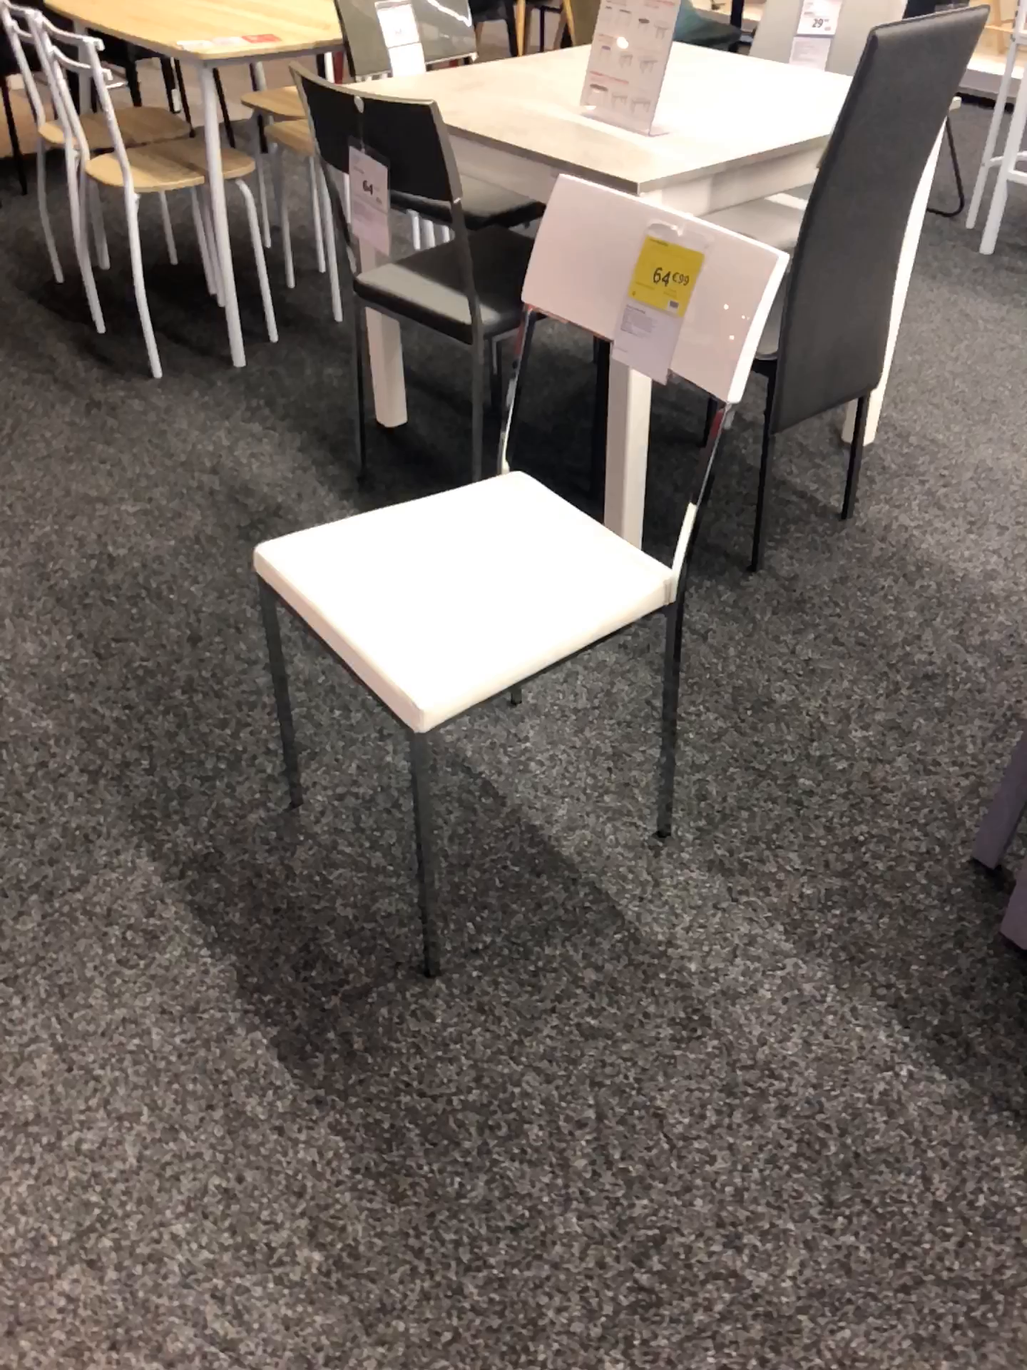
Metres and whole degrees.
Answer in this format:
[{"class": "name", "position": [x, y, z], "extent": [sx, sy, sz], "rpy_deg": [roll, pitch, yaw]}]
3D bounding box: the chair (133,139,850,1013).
[{"class": "chair", "position": [-0.028, -0.148, 1.399], "extent": [0.542, 0.815, 0.501], "rpy_deg": [-26, 45, -28]}]
